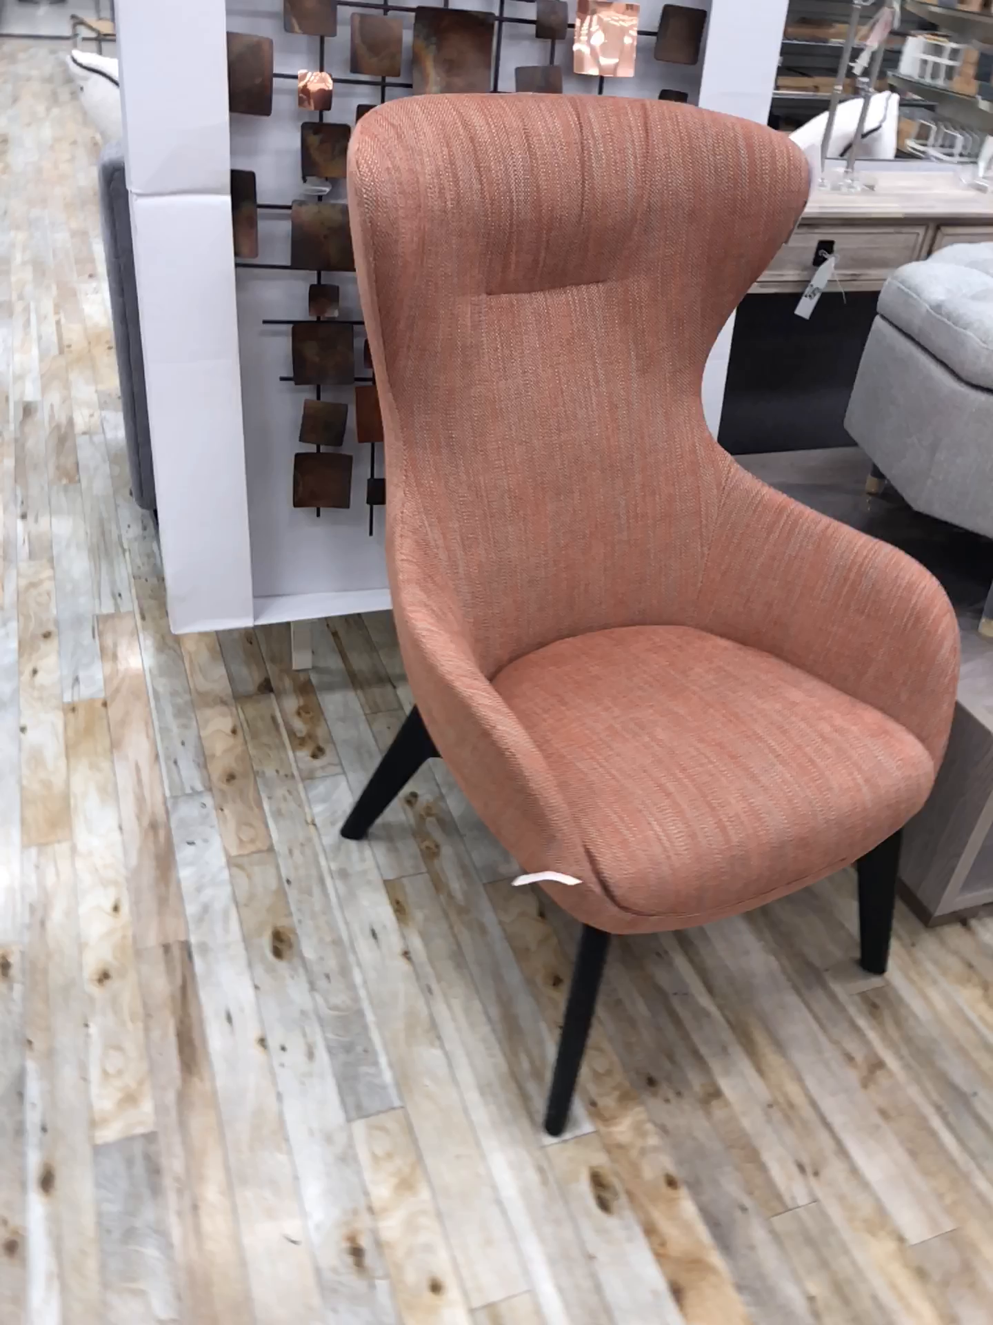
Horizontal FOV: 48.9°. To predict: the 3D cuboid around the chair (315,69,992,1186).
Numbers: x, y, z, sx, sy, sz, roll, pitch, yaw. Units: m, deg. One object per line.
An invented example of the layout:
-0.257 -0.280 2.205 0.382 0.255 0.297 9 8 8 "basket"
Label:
0.239 -0.098 1.405 0.691 1.065 0.752 -14 39 -27 "chair"
